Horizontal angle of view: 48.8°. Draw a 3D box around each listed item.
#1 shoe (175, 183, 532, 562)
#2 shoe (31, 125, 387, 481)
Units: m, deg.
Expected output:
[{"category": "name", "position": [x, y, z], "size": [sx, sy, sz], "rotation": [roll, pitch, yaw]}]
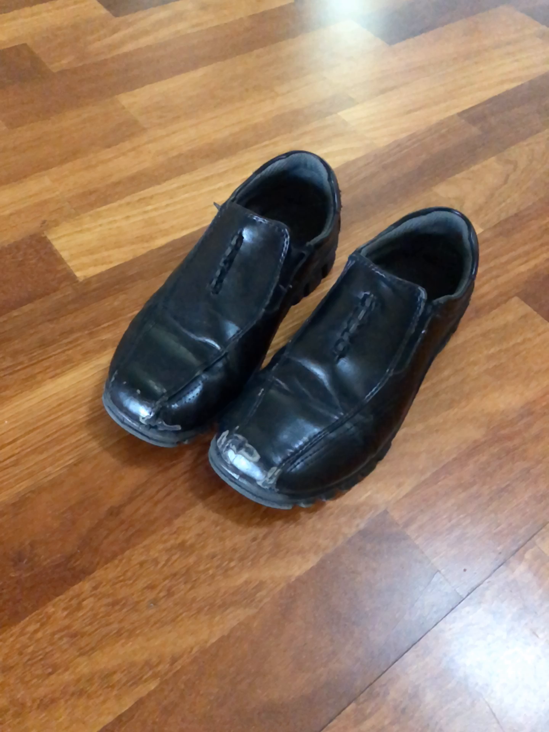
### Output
[{"category": "shoe", "position": [0.055, -0.009, 0.377], "size": [0.091, 0.075, 0.233], "rotation": [35, 59, 18]}, {"category": "shoe", "position": [-0.028, -0.054, 0.398], "size": [0.094, 0.075, 0.233], "rotation": [30, 58, 15]}]
